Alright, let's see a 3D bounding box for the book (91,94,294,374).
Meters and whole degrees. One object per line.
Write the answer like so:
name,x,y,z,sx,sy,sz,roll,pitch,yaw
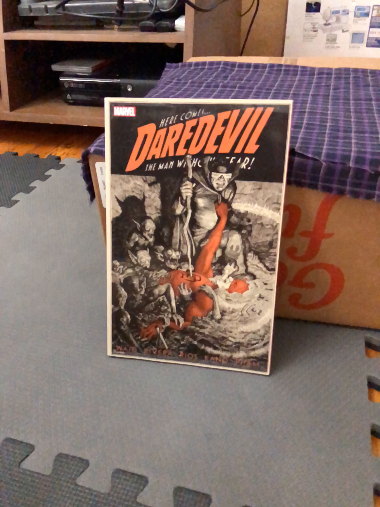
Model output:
book,-0.003,-0.014,0.362,0.160,0.229,0.020,4,14,9
